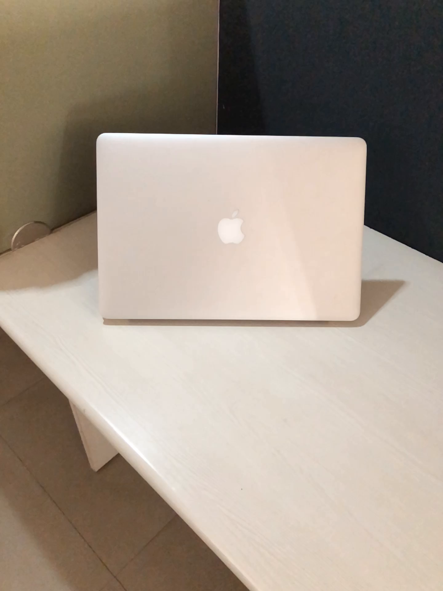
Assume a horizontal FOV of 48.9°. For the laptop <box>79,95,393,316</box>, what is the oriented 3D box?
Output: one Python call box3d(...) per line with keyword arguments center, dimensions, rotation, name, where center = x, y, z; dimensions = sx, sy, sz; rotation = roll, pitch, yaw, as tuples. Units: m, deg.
box3d(center=(0.013, -0.129, 0.684), dimensions=(0.343, 0.198, 0.236), rotation=(1, 43, -2), name="laptop")
